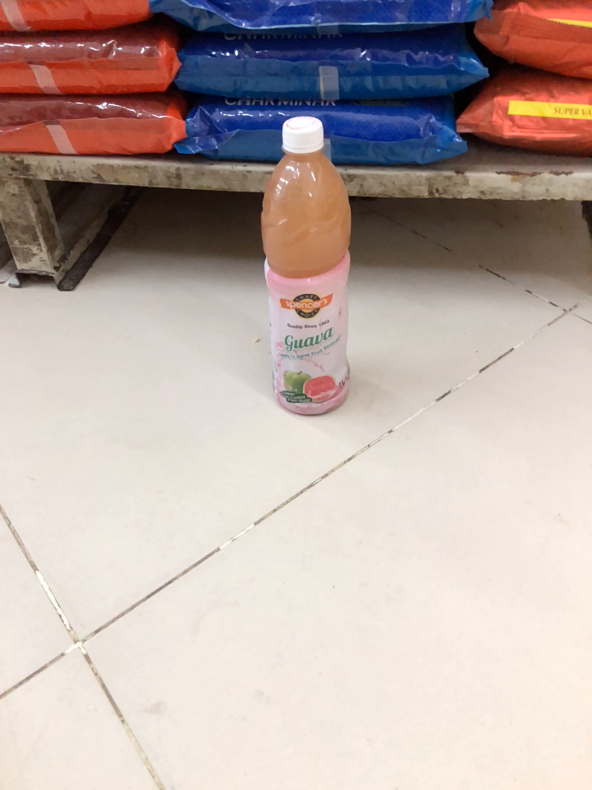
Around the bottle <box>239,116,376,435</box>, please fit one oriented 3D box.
[{"bbox_3d":[0.012,-0.091,0.567,0.090,0.258,0.091,-2,44,2],"label":"bottle"}]
